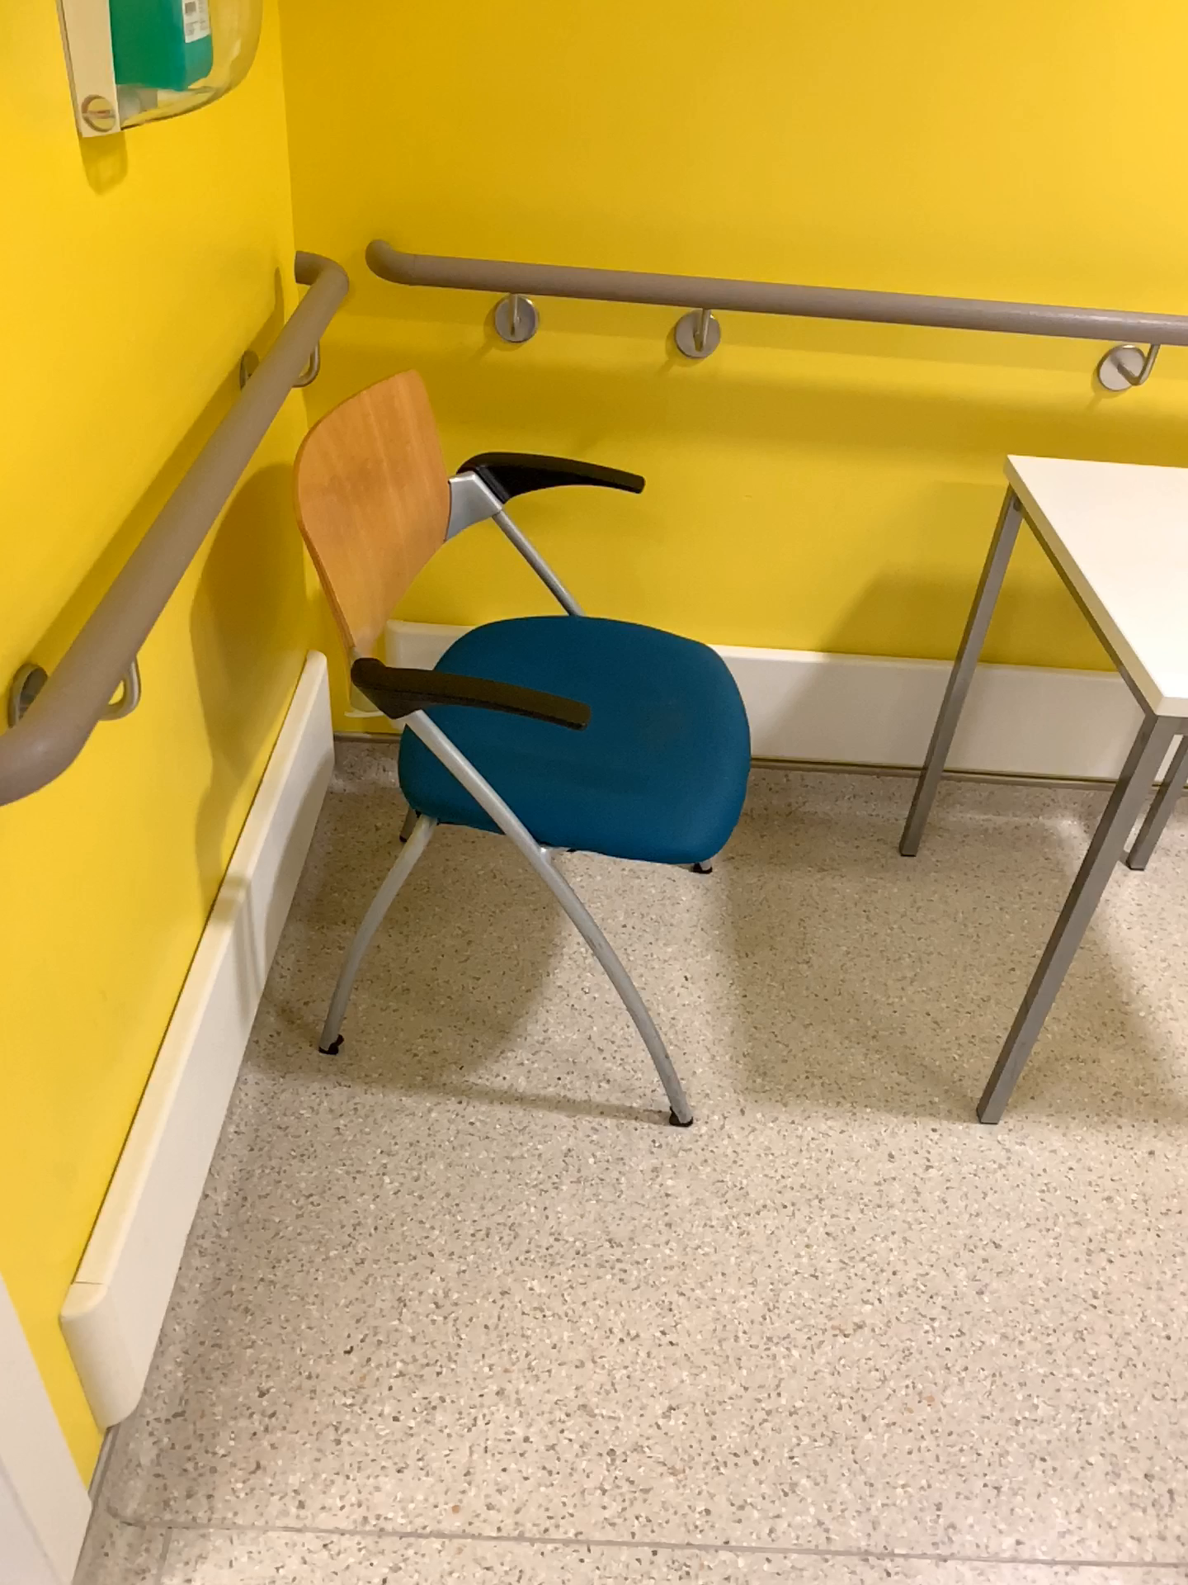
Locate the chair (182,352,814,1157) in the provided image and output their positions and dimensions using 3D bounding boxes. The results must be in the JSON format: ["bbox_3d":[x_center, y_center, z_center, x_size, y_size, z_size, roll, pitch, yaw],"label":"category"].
[{"bbox_3d":[-0.077,-0.055,1.567,0.589,0.779,0.576,8,37,5],"label":"chair"}]
